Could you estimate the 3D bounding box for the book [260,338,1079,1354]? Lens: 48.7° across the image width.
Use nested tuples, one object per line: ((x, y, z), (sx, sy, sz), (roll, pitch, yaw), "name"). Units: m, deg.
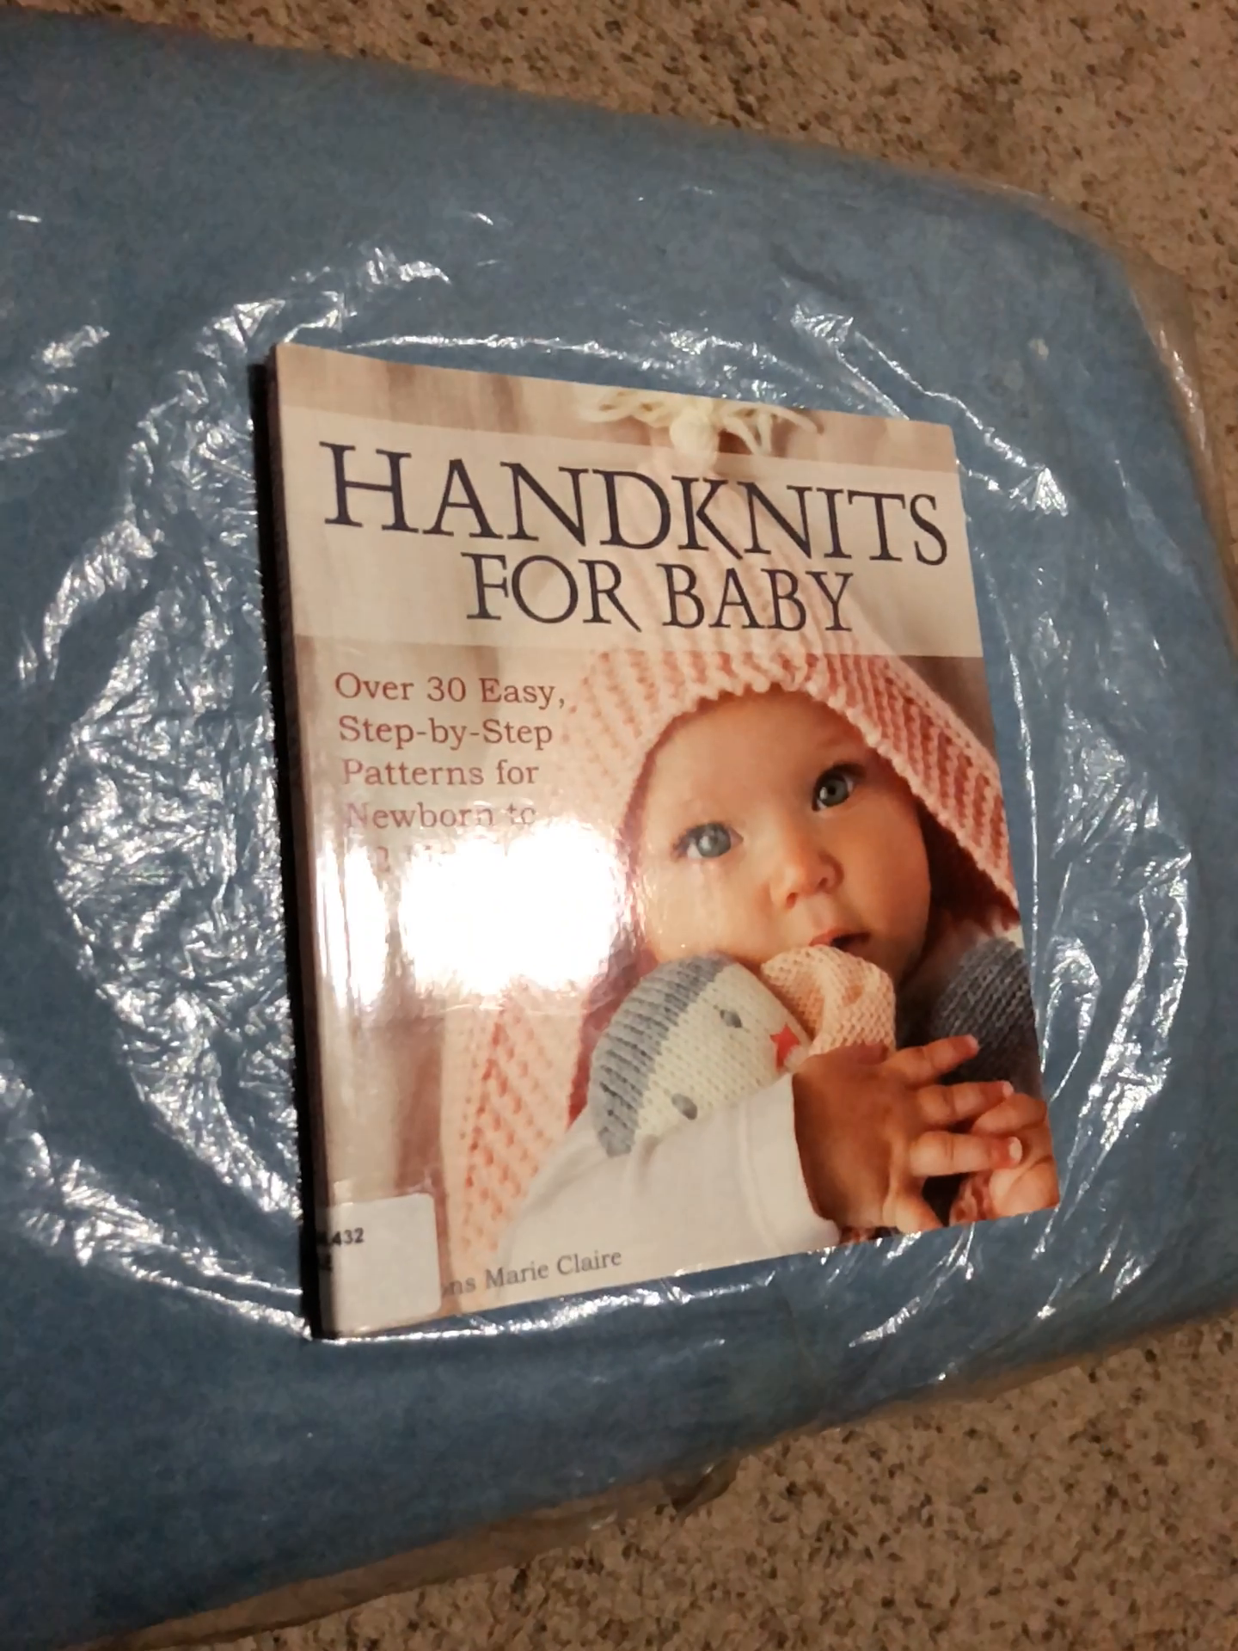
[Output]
((0.018, -0.002, 0.344), (0.197, 0.020, 0.220), (-2, 82, -25), "book")
